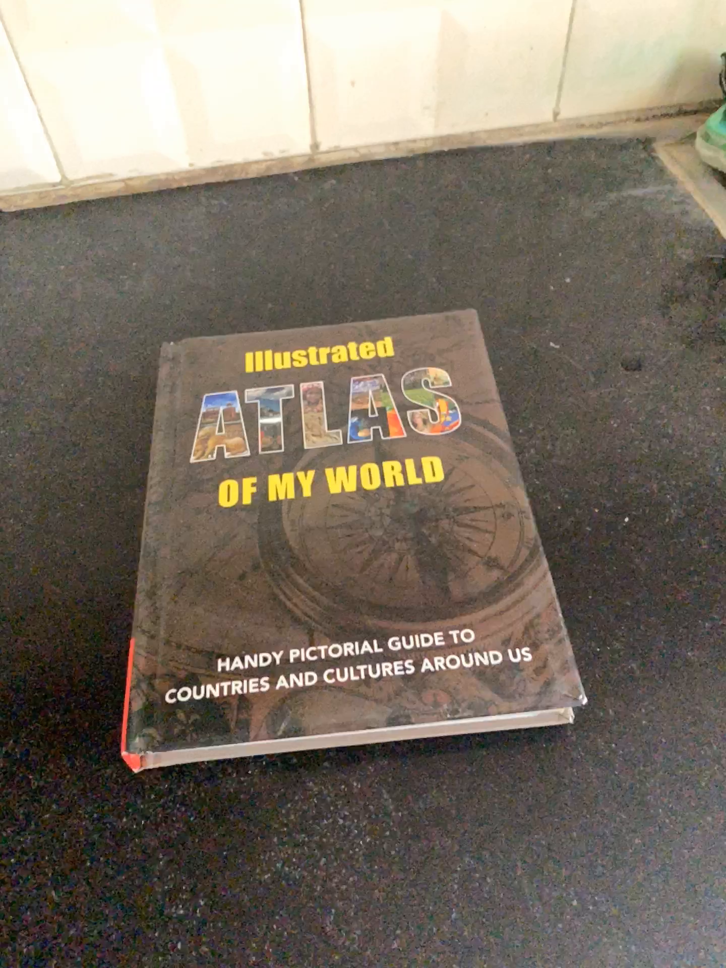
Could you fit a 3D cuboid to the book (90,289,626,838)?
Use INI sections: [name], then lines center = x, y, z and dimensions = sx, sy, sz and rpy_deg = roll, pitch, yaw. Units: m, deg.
[book]
center = -0.014, 0.015, 0.376
dimensions = 0.200, 0.040, 0.272
rpy_deg = -6, 53, -1
